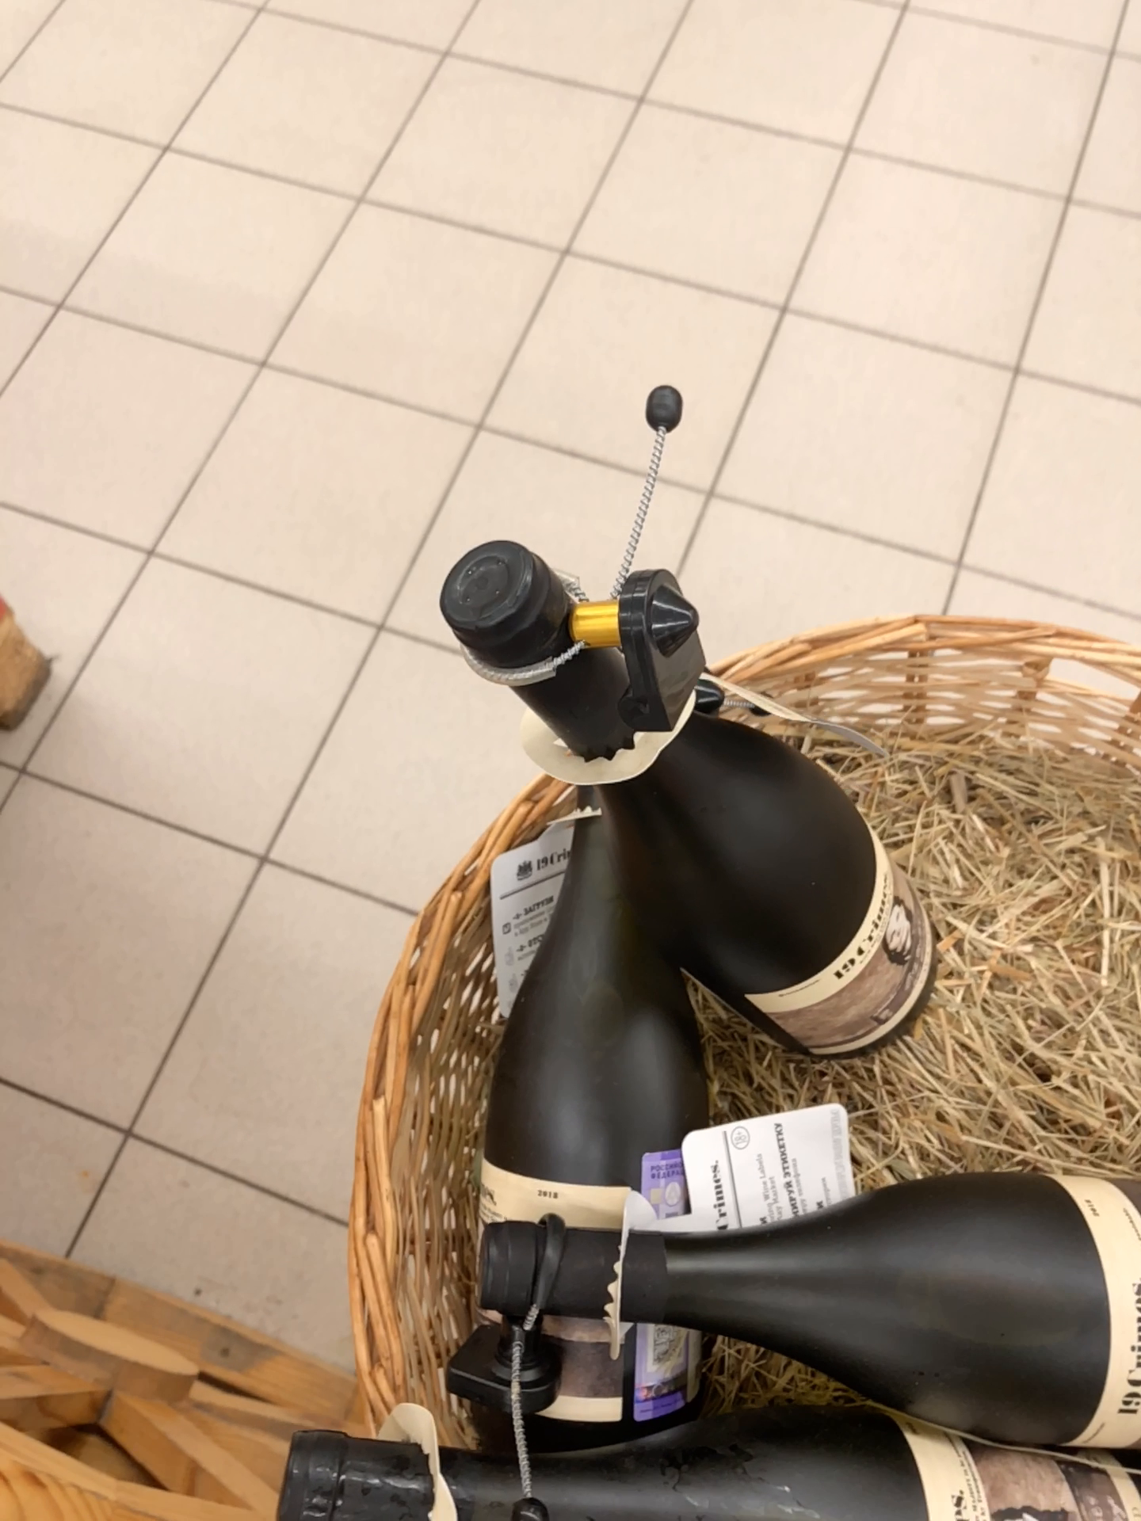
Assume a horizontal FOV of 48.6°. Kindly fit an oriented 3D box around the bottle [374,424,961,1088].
[{"bbox_3d":[0.058,0.023,0.413,0.080,0.289,0.090,4,66,28],"label":"bottle"}]
